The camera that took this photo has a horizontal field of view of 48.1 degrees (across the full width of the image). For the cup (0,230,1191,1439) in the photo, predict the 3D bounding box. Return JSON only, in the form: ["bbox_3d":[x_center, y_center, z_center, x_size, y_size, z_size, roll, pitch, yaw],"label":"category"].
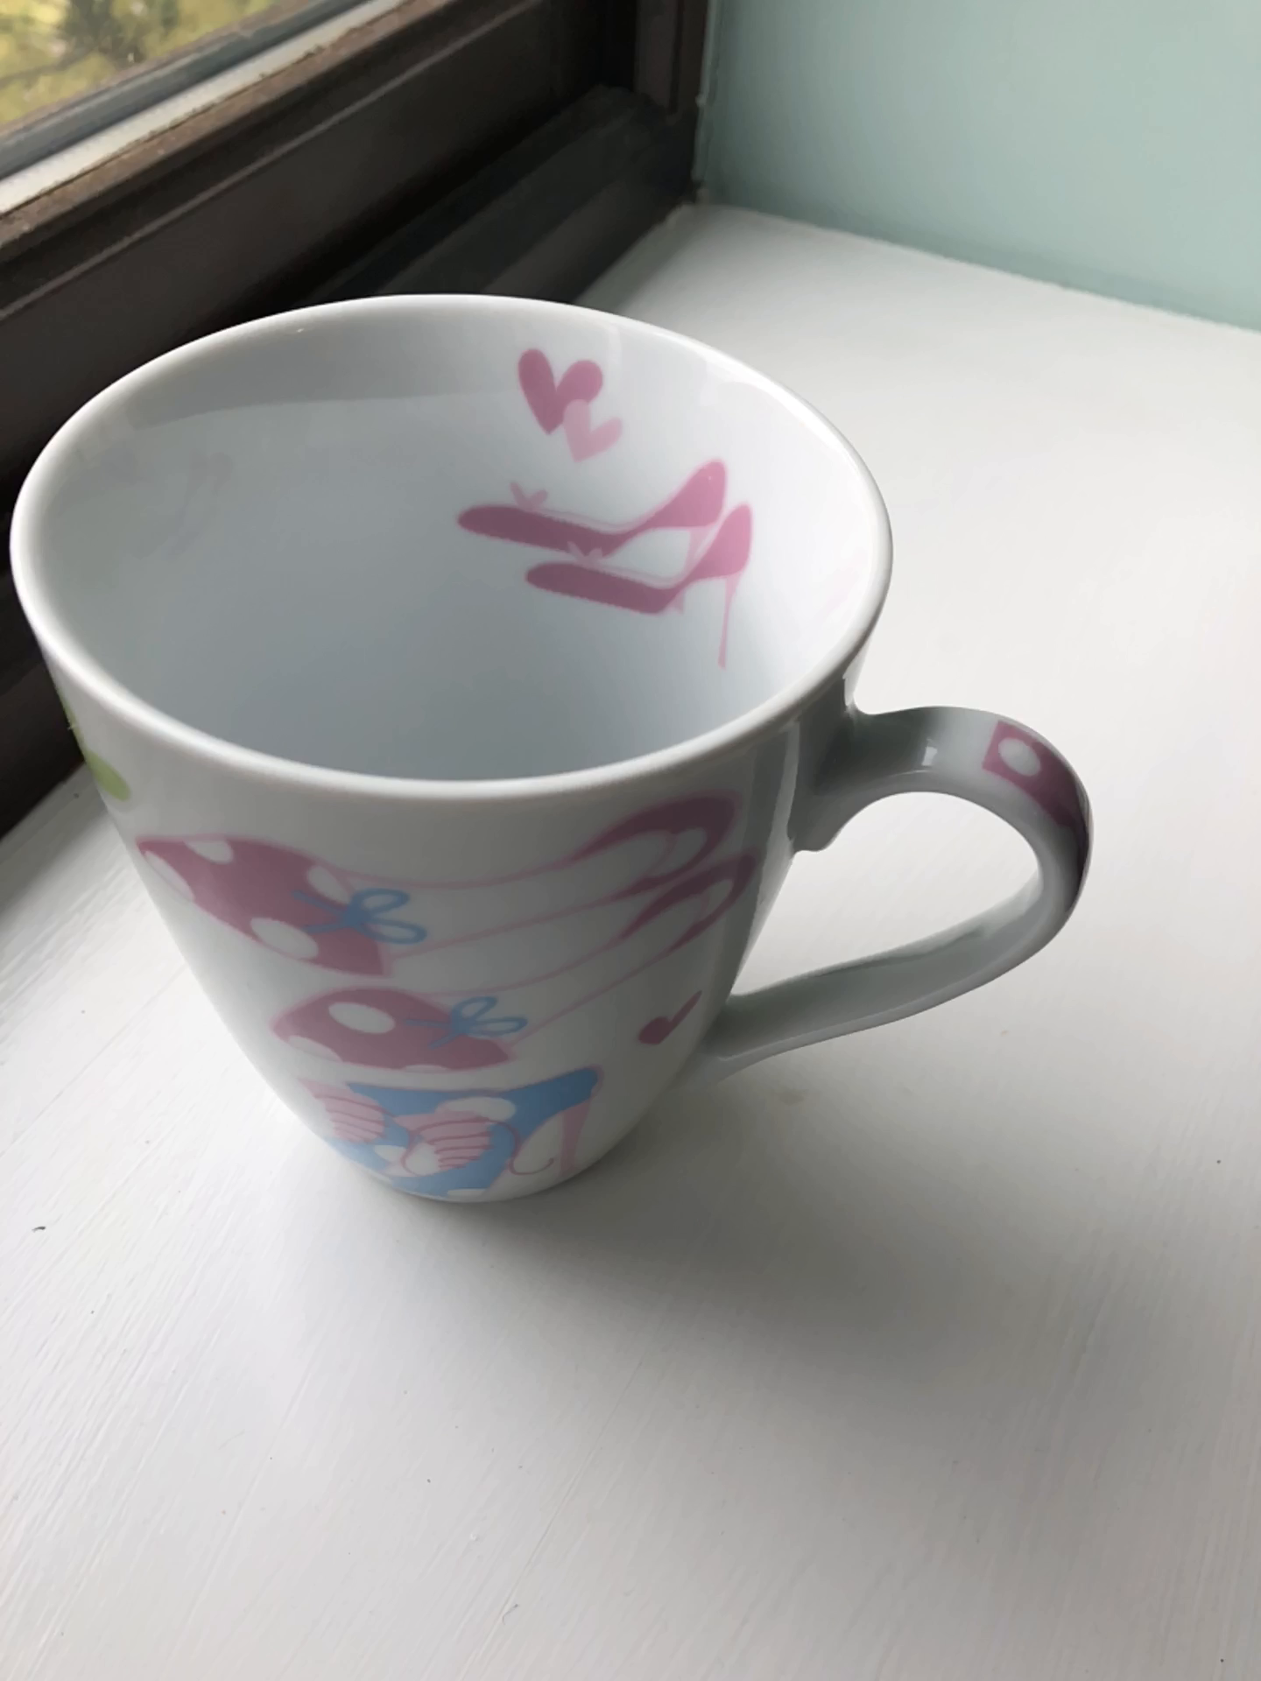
[{"bbox_3d":[-0.008,-0.009,0.200,0.140,0.089,0.111,15,46,10],"label":"cup"}]
